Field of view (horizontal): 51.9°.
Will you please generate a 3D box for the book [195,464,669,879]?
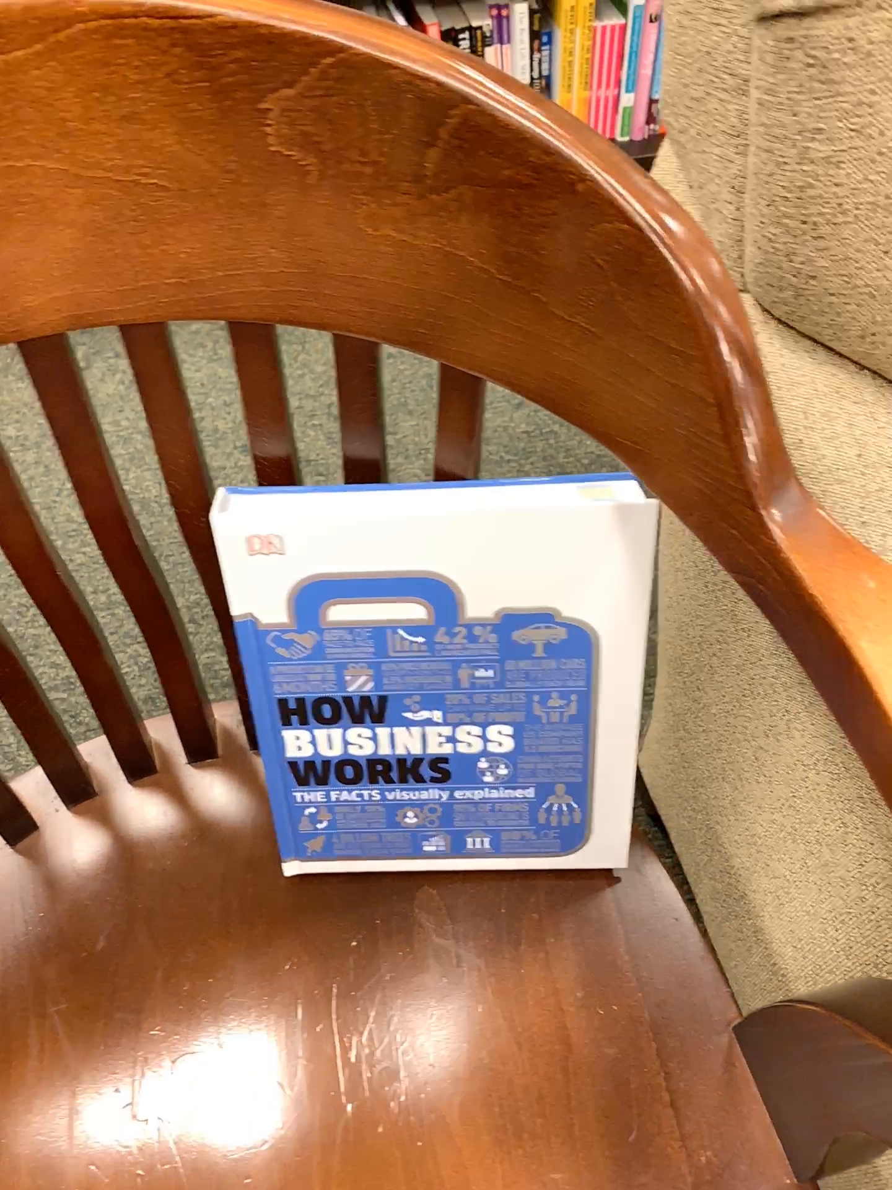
[{"bbox_3d":[-0.003,0.053,0.492,0.211,0.246,0.039,-1,33,1],"label":"book"}]
